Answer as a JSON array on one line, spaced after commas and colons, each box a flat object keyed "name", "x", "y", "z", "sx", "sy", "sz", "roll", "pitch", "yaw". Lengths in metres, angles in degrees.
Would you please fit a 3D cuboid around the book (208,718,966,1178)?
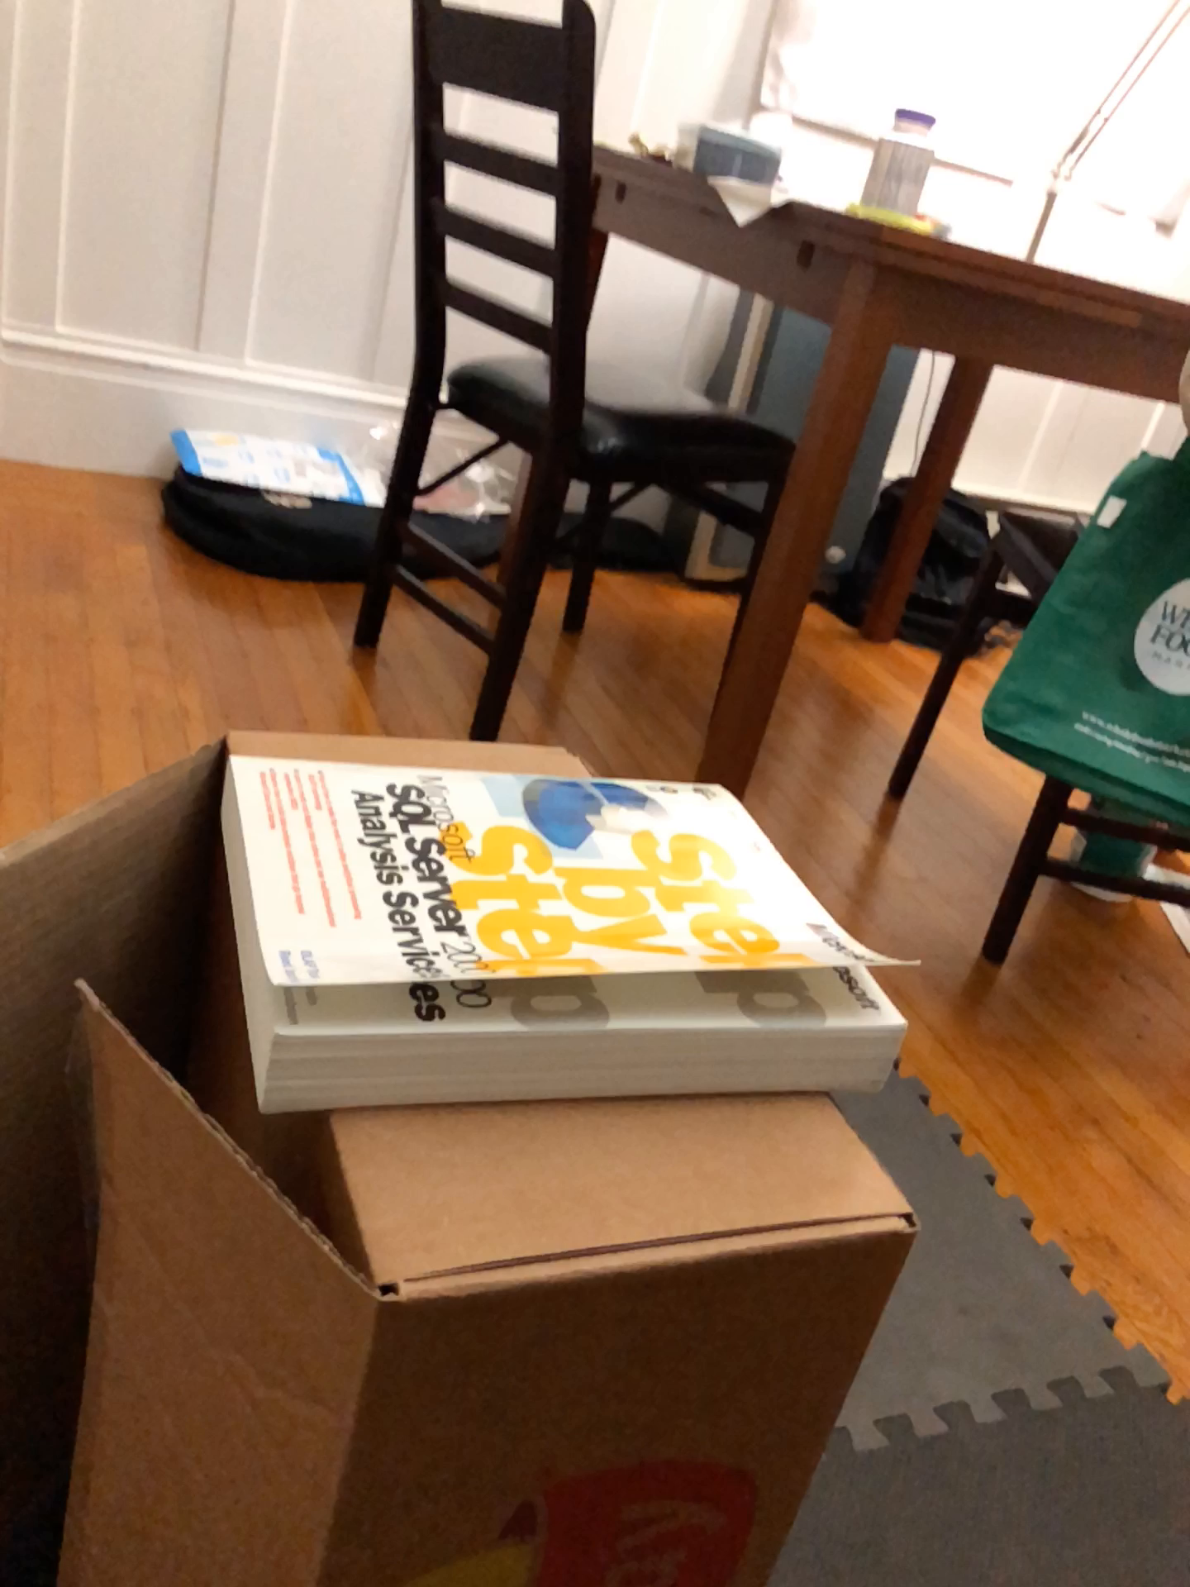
[{"name": "book", "x": -0.014, "y": 0.043, "z": 0.521, "sx": 0.240, "sy": 0.050, "sz": 0.201, "roll": -1, "pitch": 32, "yaw": -26}]
